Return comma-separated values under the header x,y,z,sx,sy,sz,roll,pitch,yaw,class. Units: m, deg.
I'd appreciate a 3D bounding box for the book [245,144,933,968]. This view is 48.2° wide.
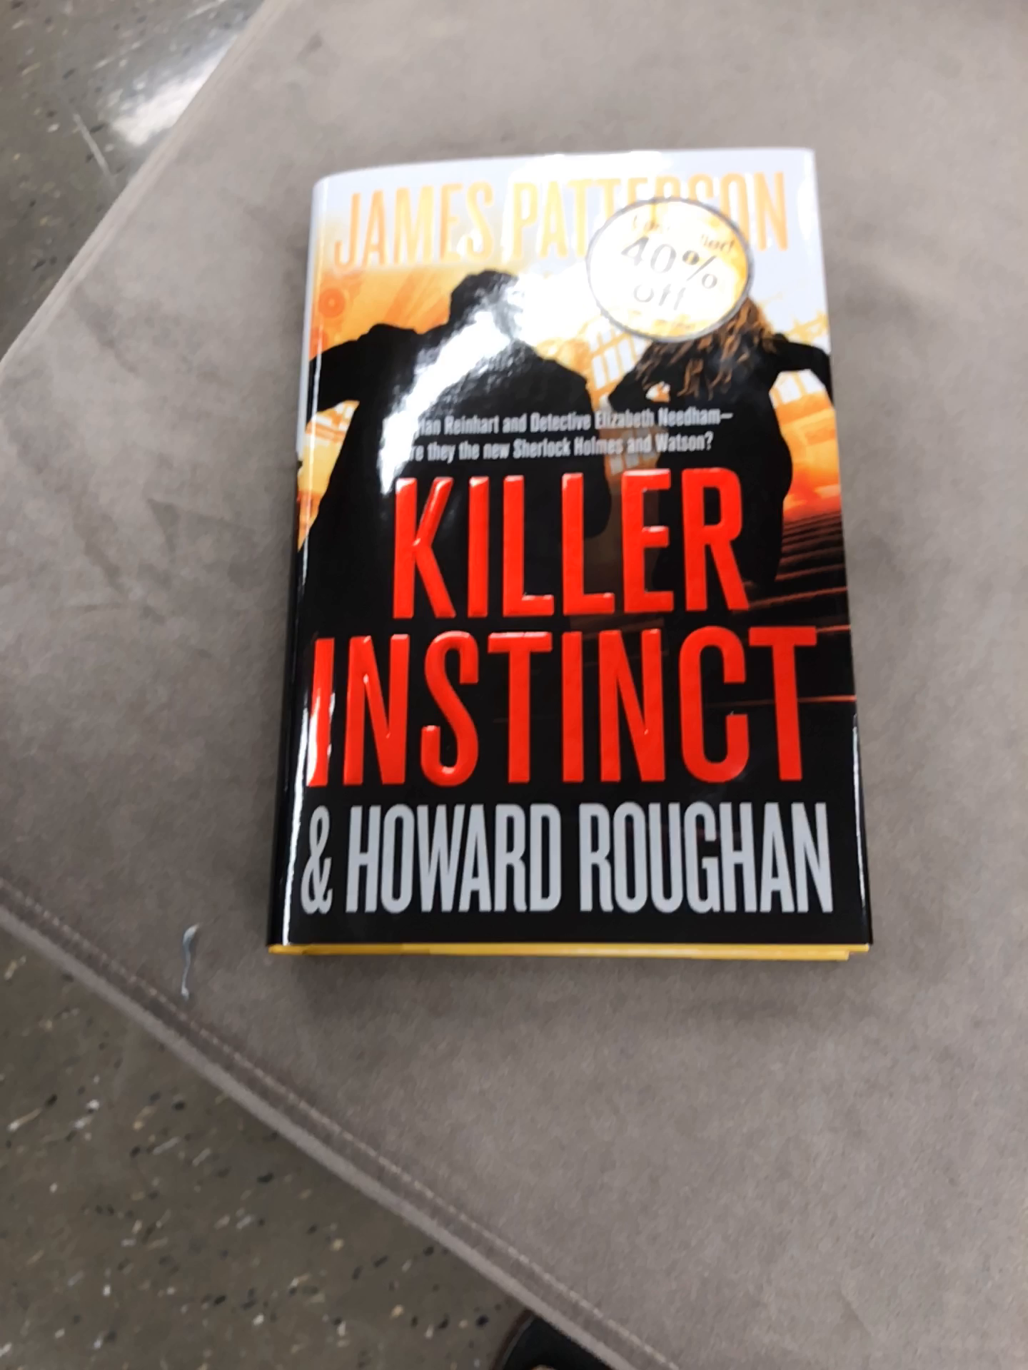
x,y,z,sx,sy,sz,roll,pitch,yaw,class
0.020,-0.041,0.337,0.172,0.038,0.237,0,75,5,book
